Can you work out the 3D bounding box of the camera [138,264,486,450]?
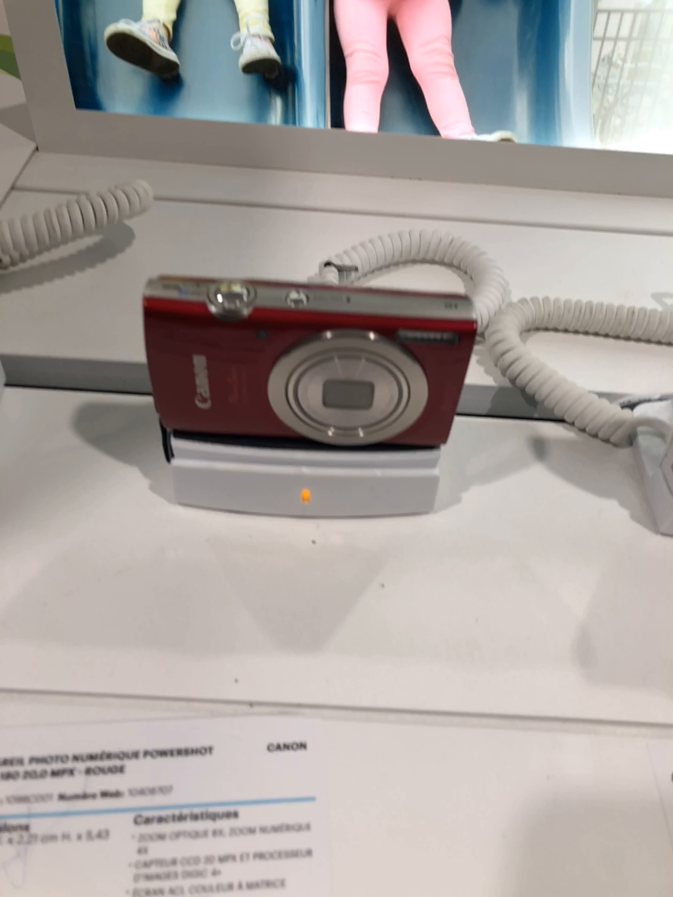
[{"bbox_3d":[-0.007,-0.026,0.223,0.093,0.050,0.022,2,47,-2],"label":"camera"}]
